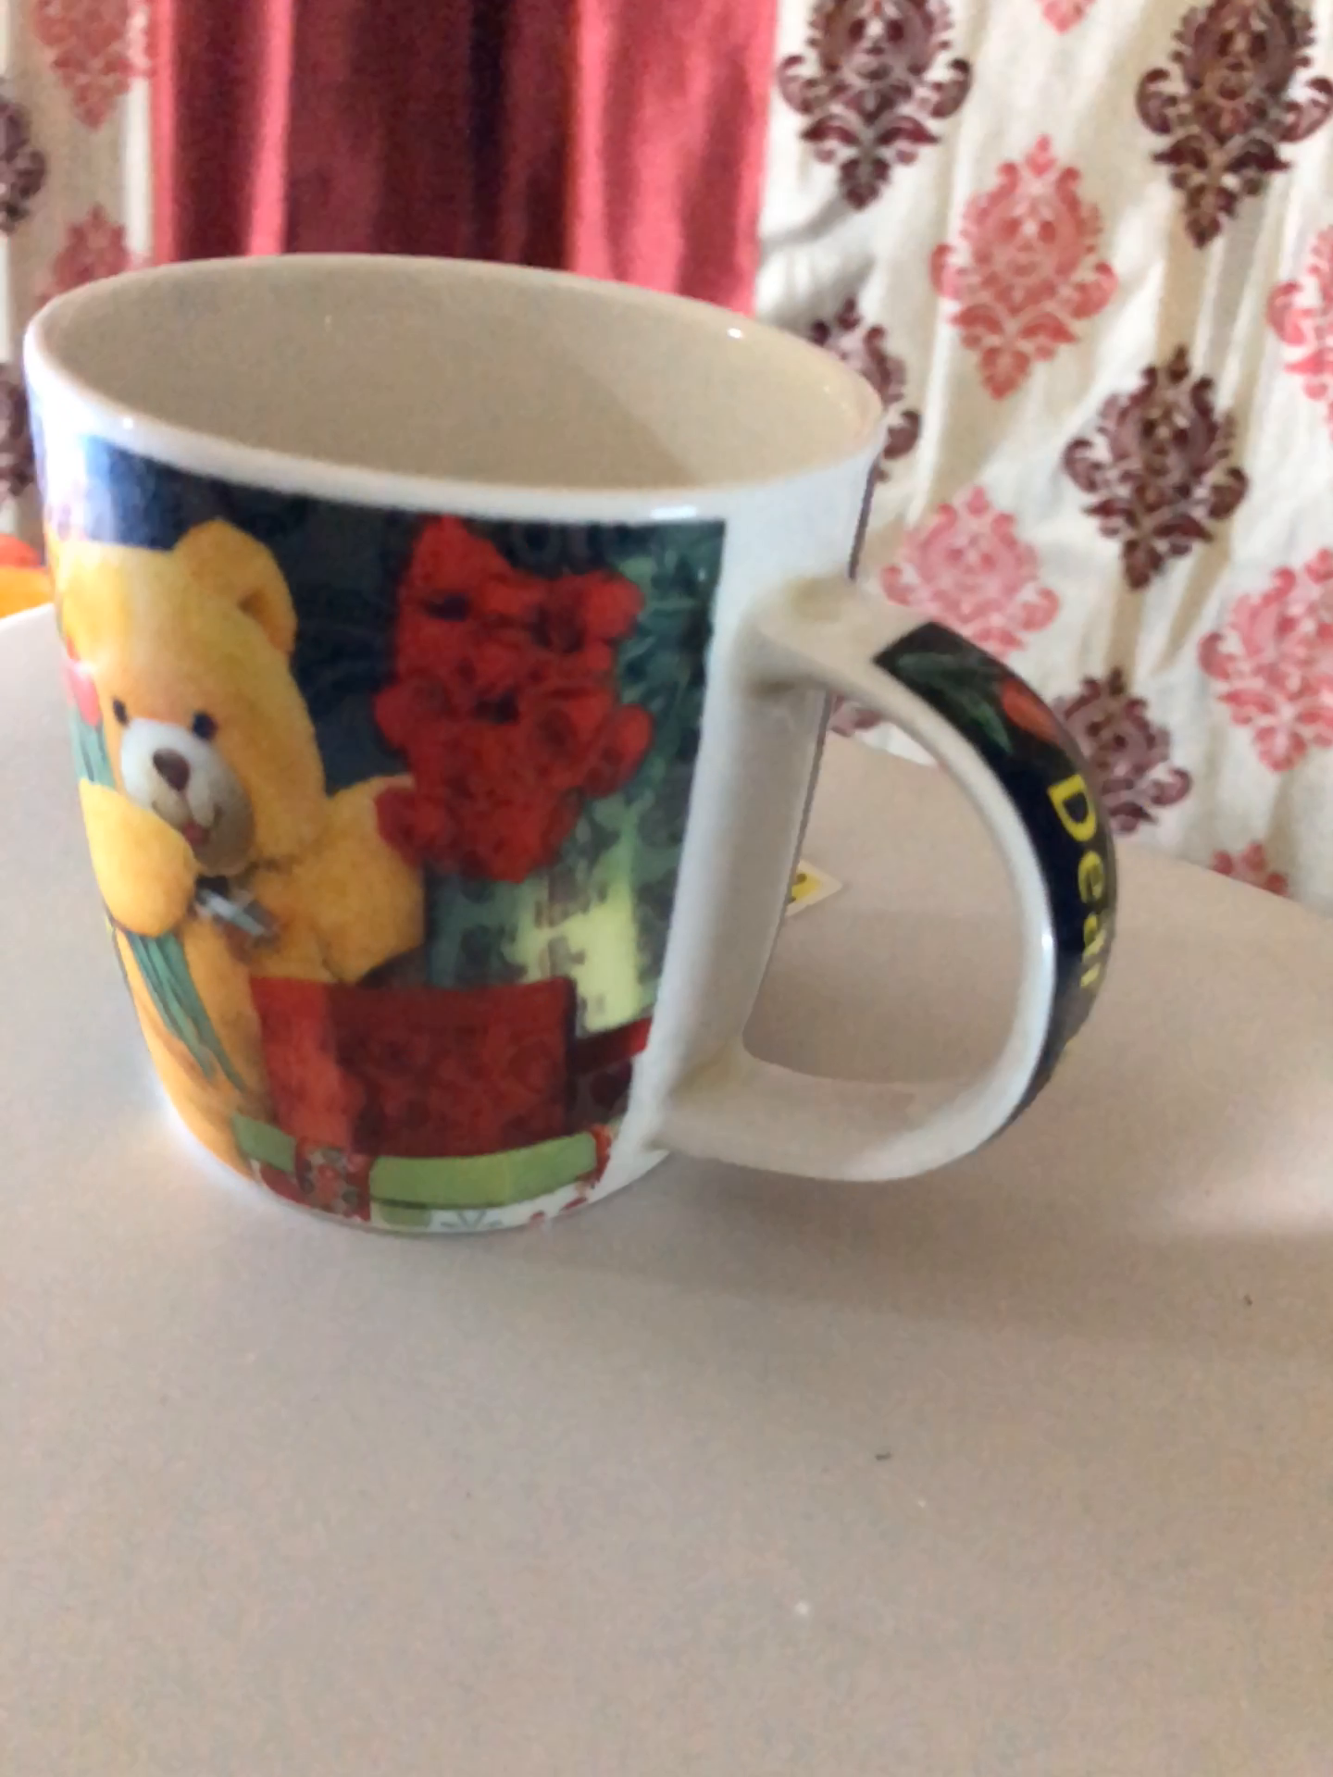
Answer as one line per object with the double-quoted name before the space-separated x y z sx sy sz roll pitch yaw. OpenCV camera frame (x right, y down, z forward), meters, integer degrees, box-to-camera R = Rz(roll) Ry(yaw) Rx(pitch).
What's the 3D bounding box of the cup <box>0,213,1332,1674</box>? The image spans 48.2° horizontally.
"cup" -0.012 -0.012 0.168 0.130 0.099 0.080 25 33 28
